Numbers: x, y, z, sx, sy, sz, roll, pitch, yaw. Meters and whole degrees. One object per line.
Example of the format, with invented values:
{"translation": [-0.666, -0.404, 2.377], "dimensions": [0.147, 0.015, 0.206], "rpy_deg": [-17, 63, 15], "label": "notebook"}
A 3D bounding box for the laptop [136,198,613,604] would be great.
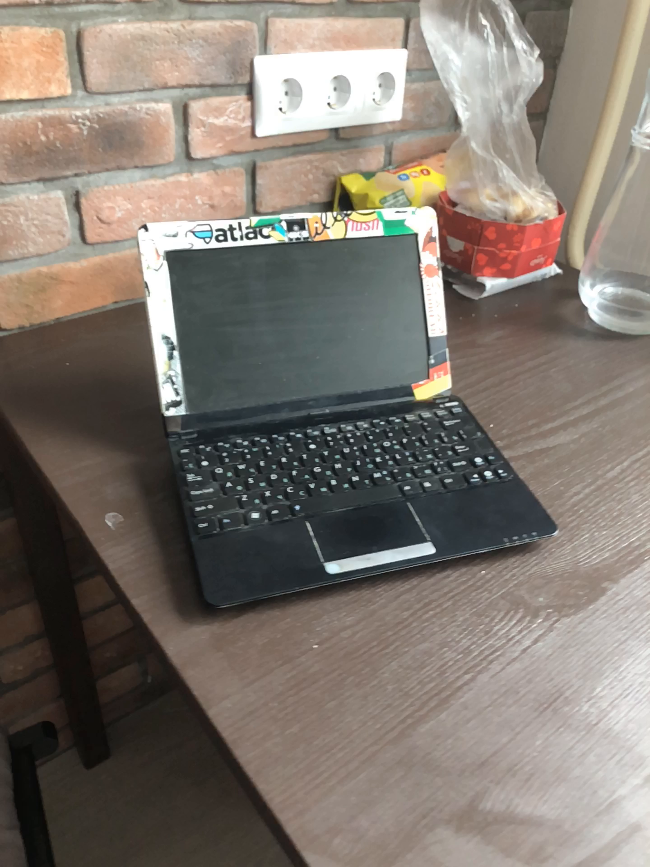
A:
{"translation": [0.009, -0.052, 0.536], "dimensions": [0.257, 0.139, 0.269], "rpy_deg": [-8, 38, -16], "label": "laptop"}
